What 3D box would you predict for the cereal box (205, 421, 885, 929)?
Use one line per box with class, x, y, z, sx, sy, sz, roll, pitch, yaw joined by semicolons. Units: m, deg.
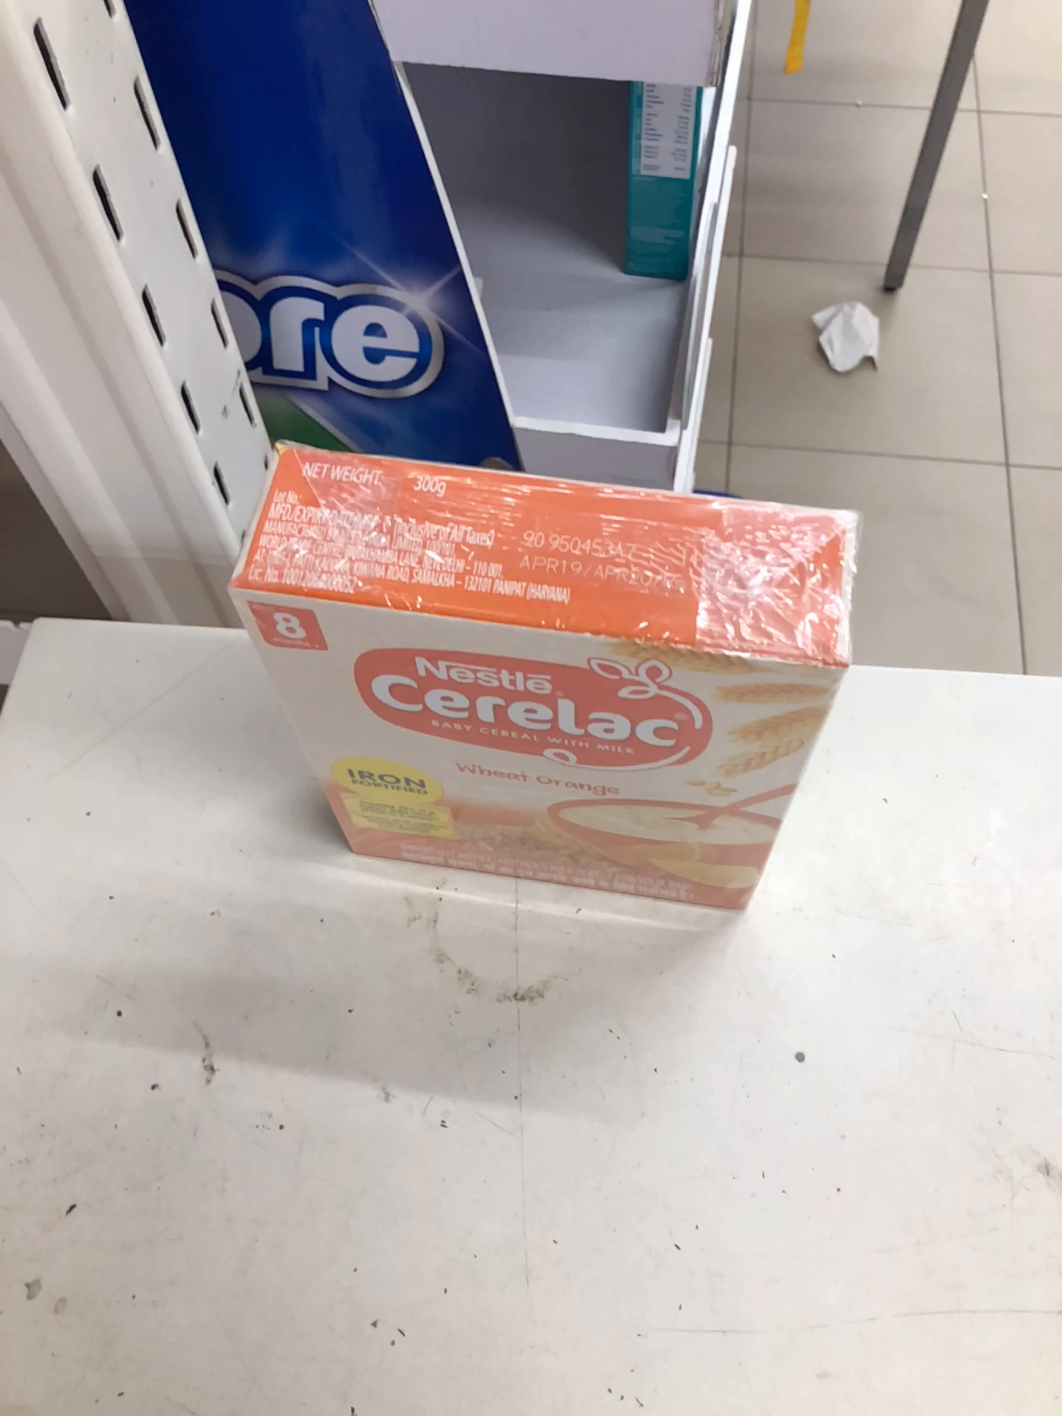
cereal box;0.007;0.004;0.375;0.160;0.199;0.050;8;63;6
